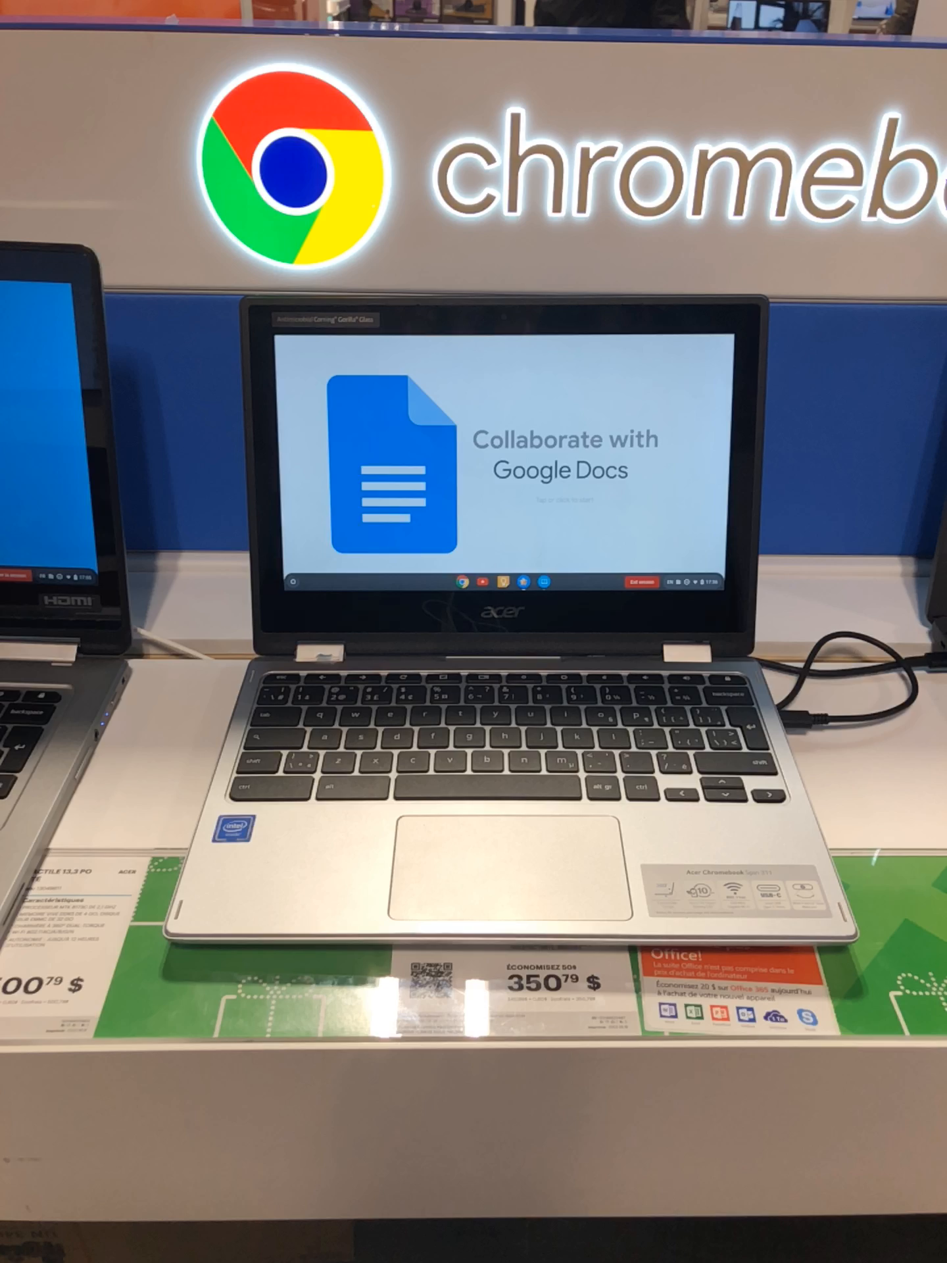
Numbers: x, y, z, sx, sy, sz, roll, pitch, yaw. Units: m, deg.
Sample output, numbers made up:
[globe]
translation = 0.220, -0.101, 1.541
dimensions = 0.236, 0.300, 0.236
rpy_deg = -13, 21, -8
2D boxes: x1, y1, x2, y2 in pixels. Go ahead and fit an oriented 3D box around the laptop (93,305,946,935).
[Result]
[laptop]
translation = 0.018, -0.024, 0.500
dimensions = 0.284, 0.181, 0.274
rpy_deg = 0, 34, -1
